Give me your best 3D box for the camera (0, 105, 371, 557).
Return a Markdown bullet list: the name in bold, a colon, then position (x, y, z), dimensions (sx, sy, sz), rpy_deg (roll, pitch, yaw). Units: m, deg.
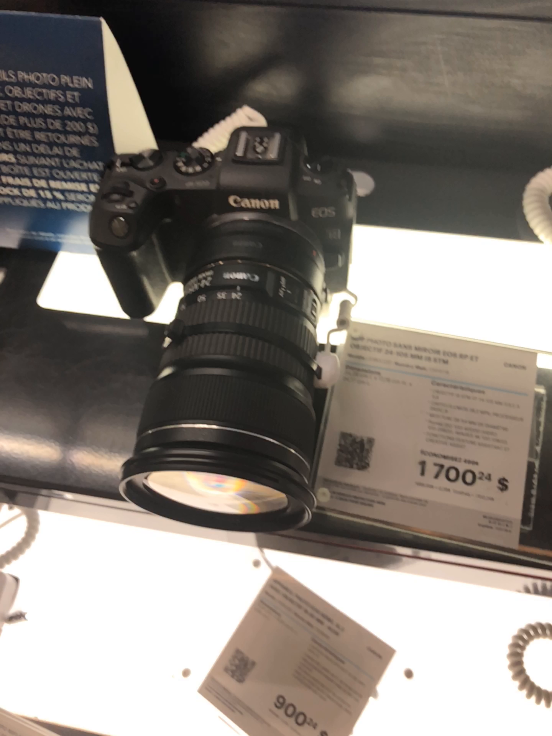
- **camera**: position (-0.028, -0.023, 0.288), dimensions (0.128, 0.099, 0.178), rpy_deg (5, 56, 6)
